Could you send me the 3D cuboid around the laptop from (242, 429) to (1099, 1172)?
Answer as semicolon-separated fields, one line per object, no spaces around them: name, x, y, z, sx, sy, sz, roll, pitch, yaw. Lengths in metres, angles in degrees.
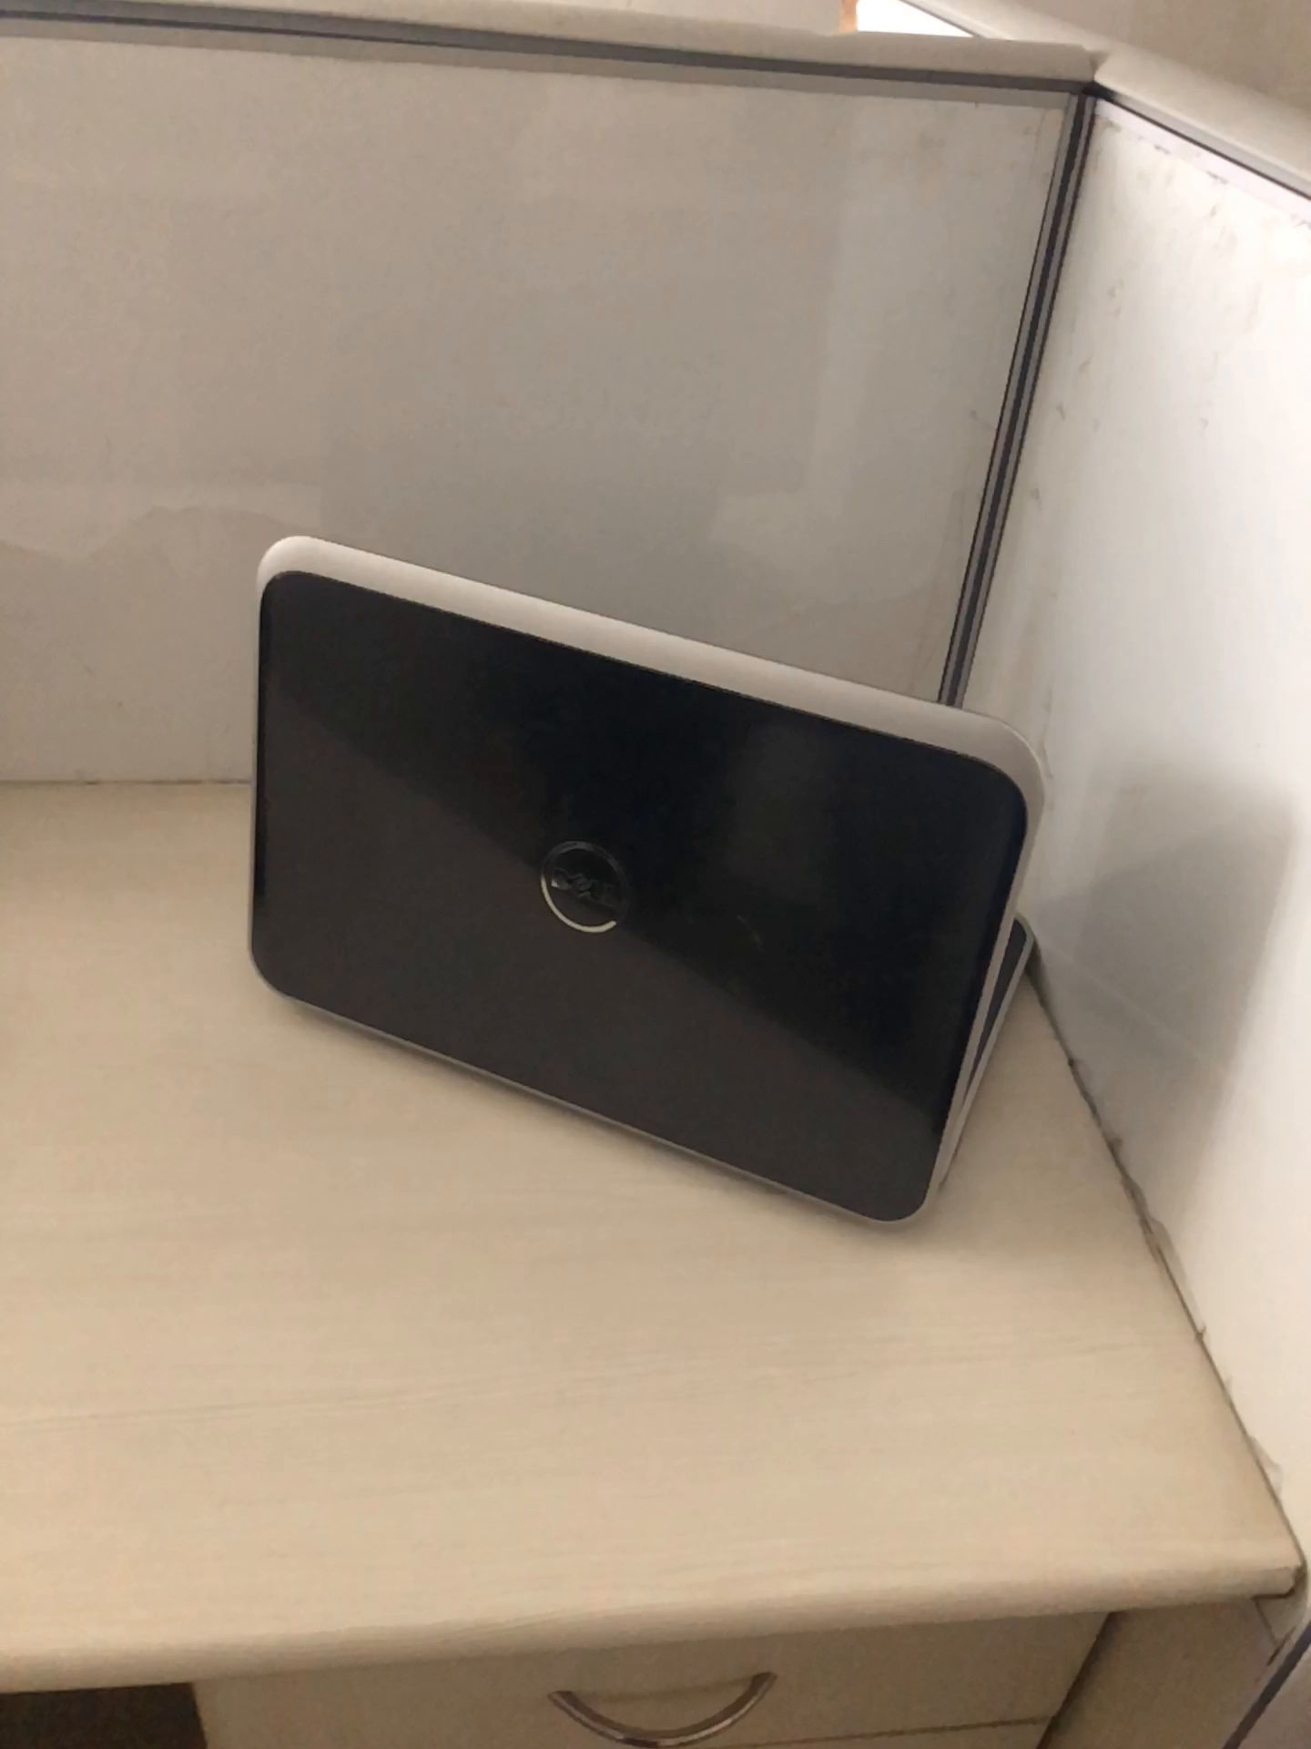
laptop;0.015;-0.057;0.739;0.333;0.217;0.240;18;36;15
